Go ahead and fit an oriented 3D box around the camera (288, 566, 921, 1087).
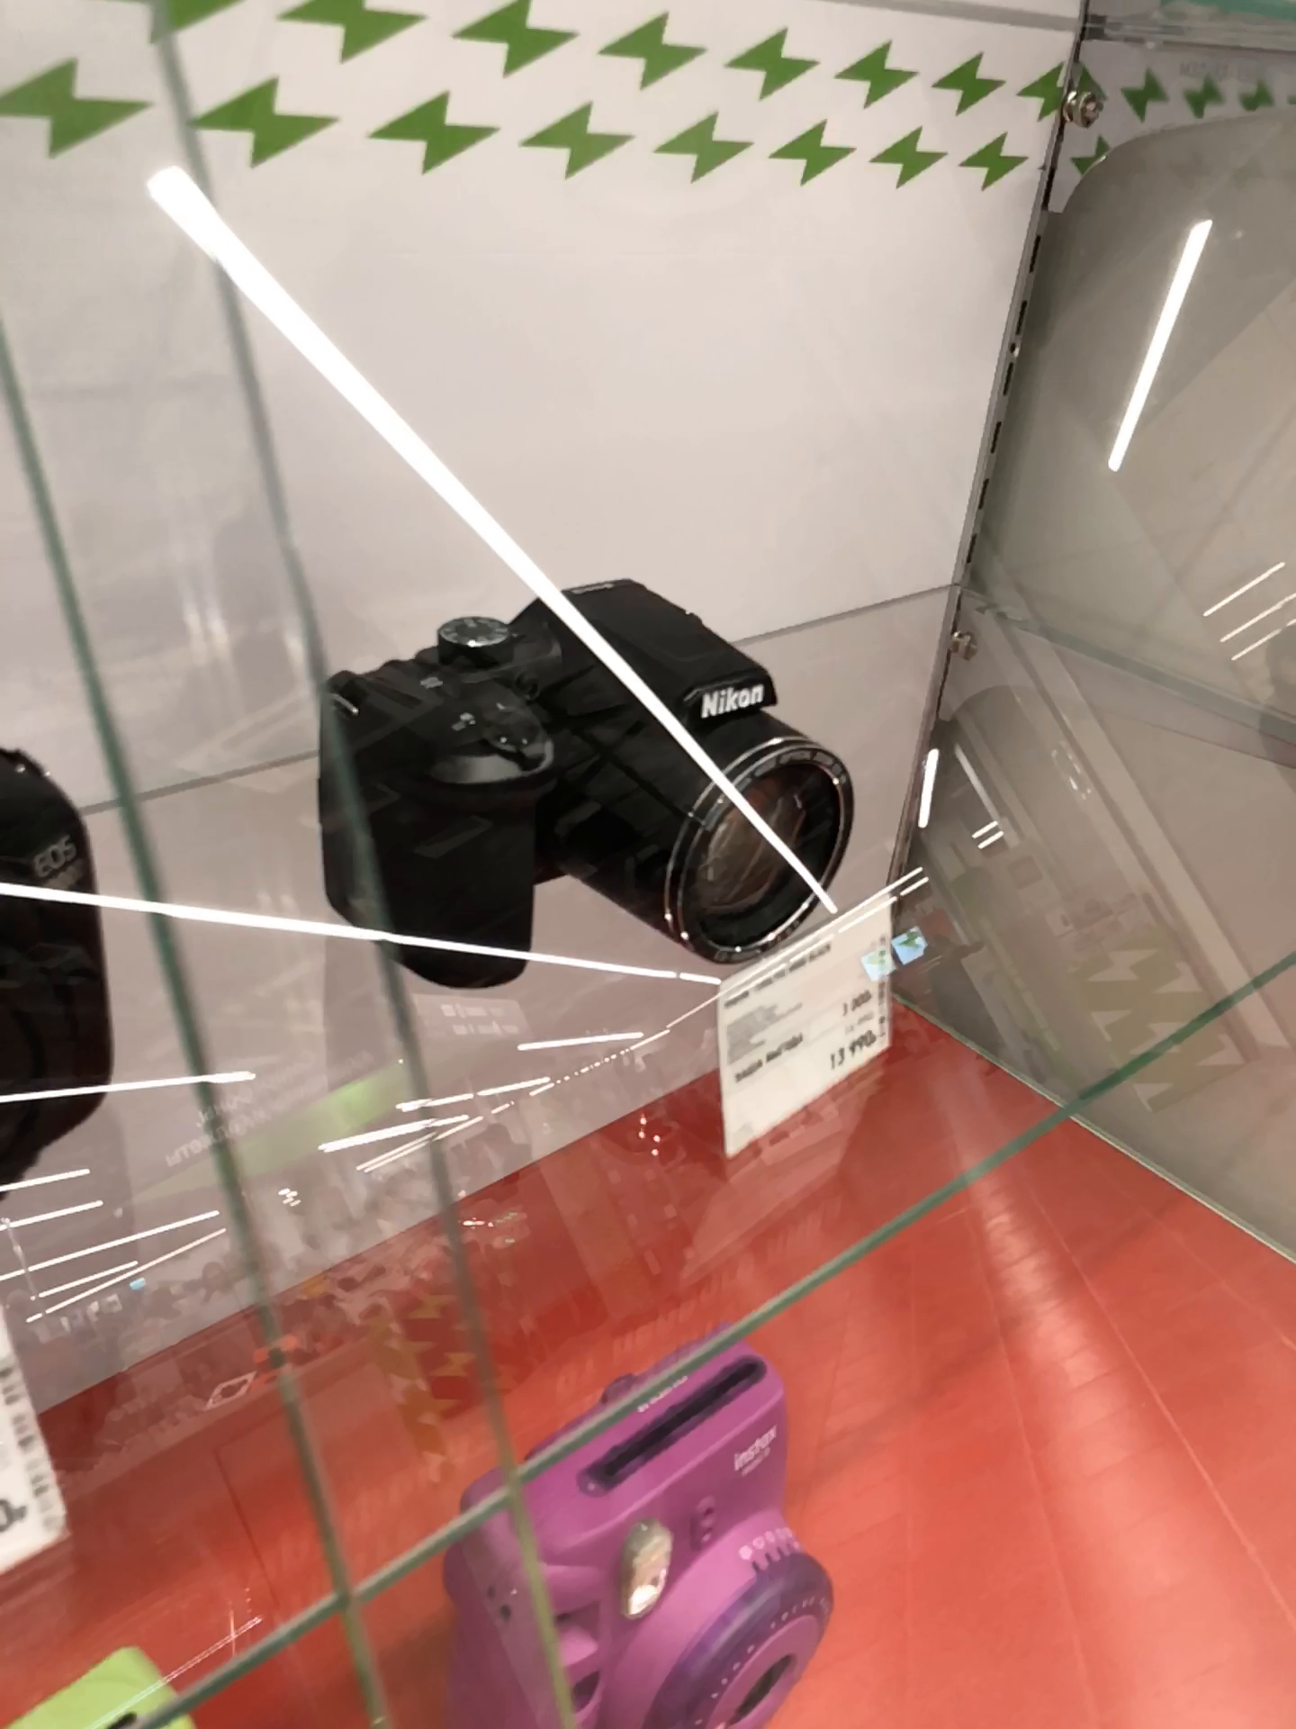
[{"bbox_3d":[-0.013,-0.019,0.358,0.115,0.070,0.100,-19,38,-37],"label":"camera"}]
